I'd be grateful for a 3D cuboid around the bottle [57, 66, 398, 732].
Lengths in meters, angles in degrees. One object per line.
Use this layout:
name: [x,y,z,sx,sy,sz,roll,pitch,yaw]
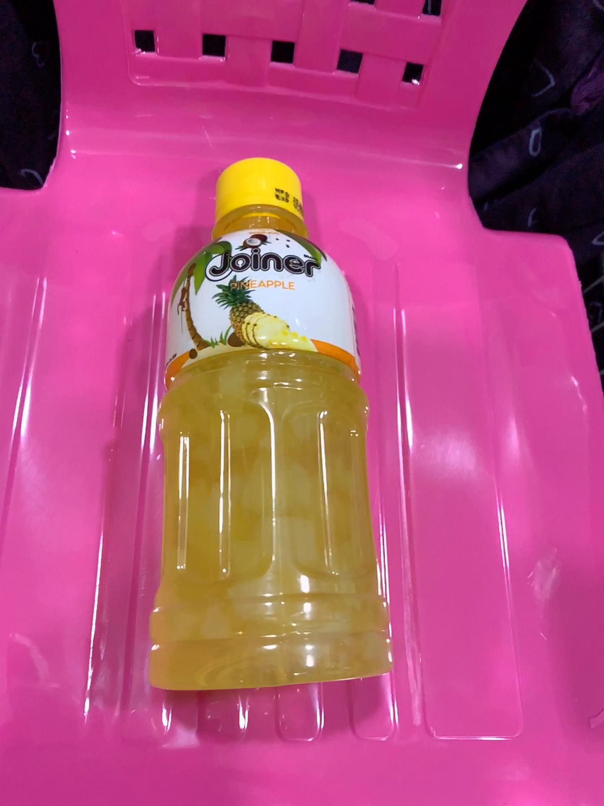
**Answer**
bottle: [-0.015,-0.002,0.179,0.070,0.060,0.160,-5,73,8]
